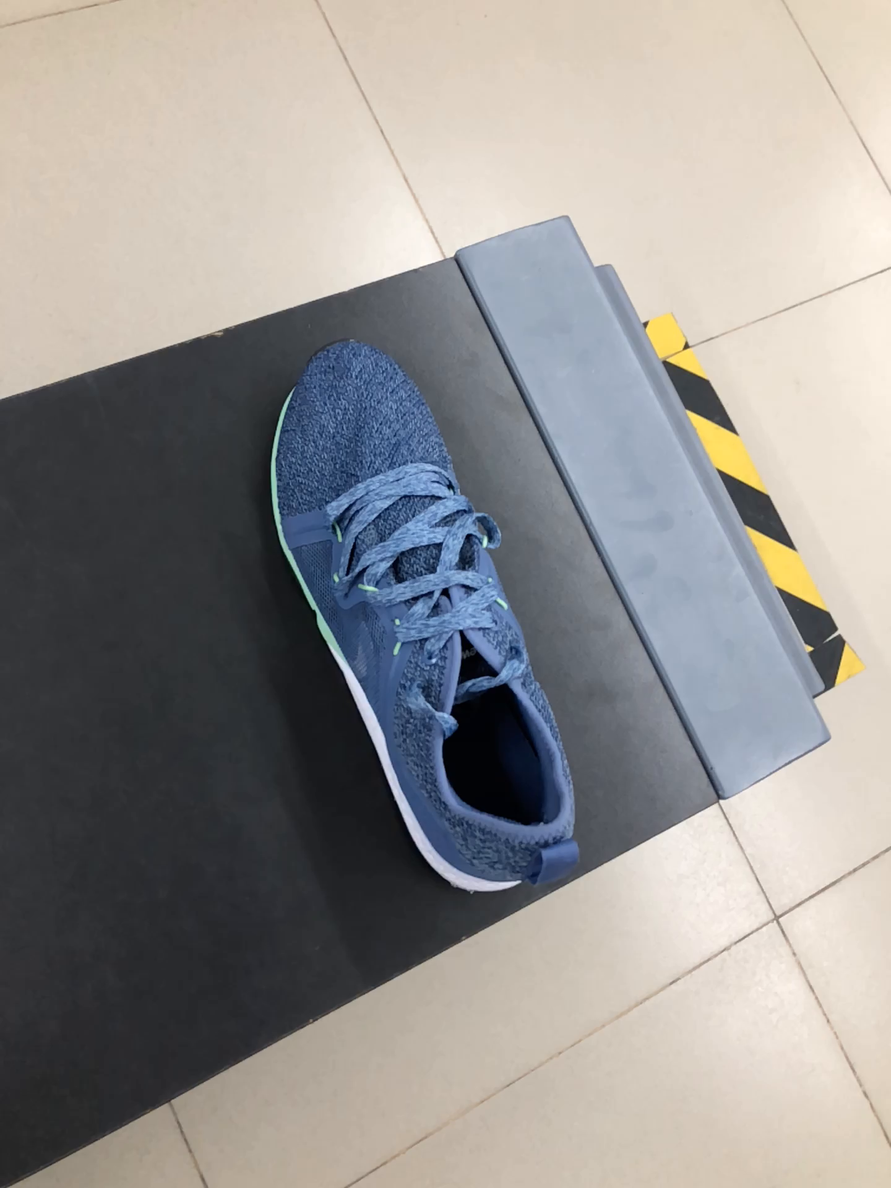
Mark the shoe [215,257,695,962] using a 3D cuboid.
[{"bbox_3d":[-0.005,0.004,0.444,0.100,0.080,0.280,-21,83,-17],"label":"shoe"}]
